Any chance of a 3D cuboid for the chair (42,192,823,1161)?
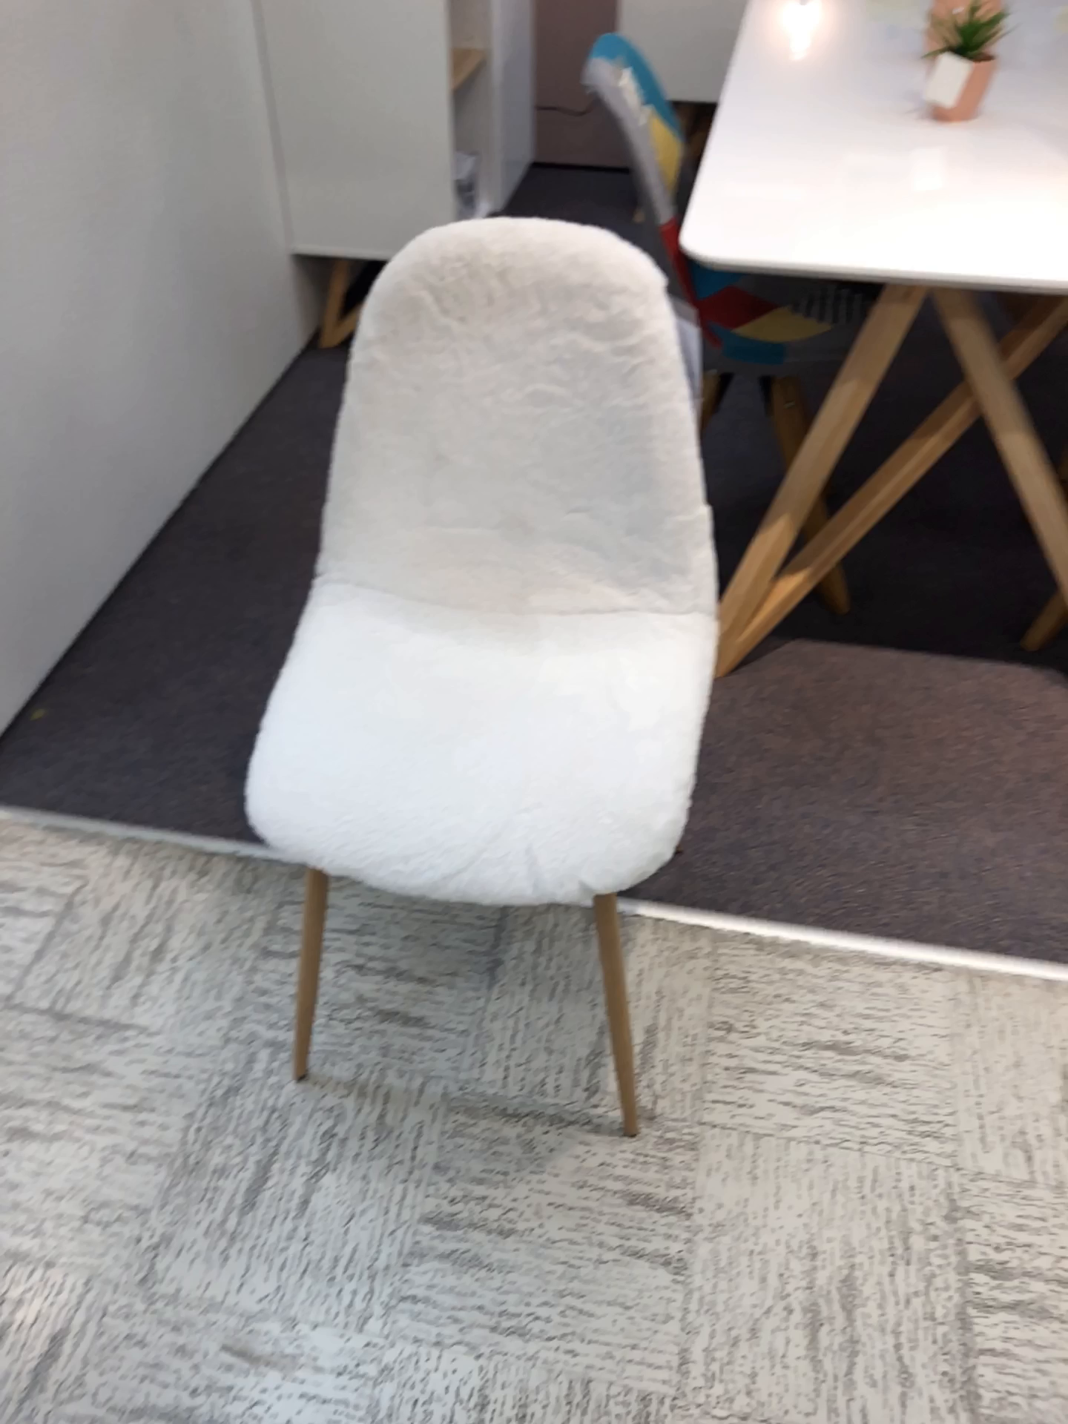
[{"bbox_3d":[-0.036,-0.019,1.242,0.520,0.815,0.553,6,43,6],"label":"chair"}]
